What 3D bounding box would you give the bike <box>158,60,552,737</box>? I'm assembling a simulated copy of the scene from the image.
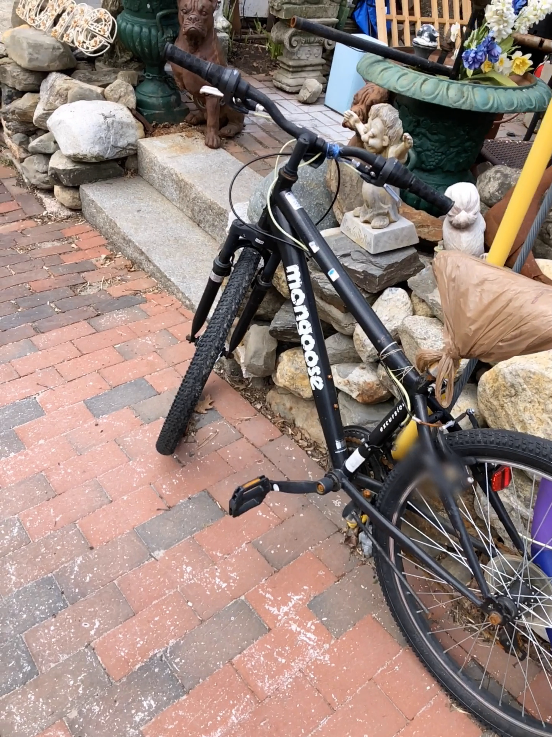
[{"bbox_3d":[0.312,0.016,1.279,0.634,0.873,1.413,-17,46,-29],"label":"bike"}]
